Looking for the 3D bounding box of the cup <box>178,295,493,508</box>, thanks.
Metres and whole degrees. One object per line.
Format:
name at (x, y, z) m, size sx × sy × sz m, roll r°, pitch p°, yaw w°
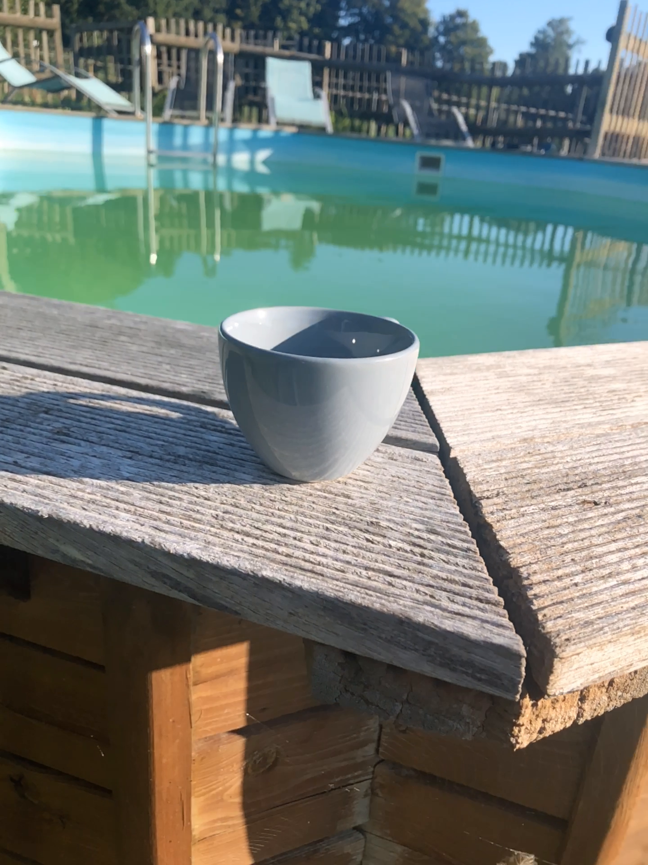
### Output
cup at (0.004, -0.022, 0.325) m, size 0.105 × 0.052 × 0.091 m, roll -15°, pitch 30°, yaw -38°
